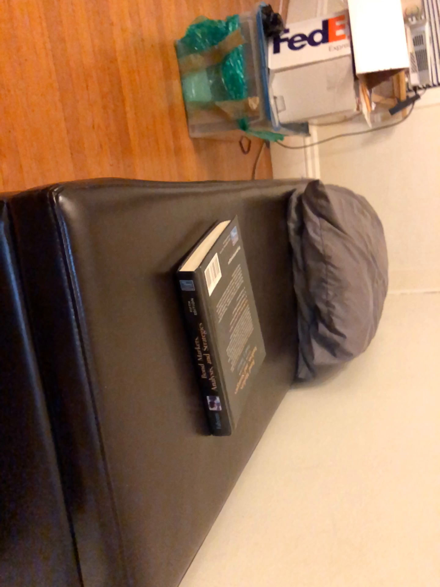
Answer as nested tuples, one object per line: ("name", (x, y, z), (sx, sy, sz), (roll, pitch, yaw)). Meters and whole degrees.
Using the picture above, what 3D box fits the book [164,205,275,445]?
("book", (0.014, 0.037, 0.670), (0.201, 0.040, 0.260), (-57, 139, -56))
